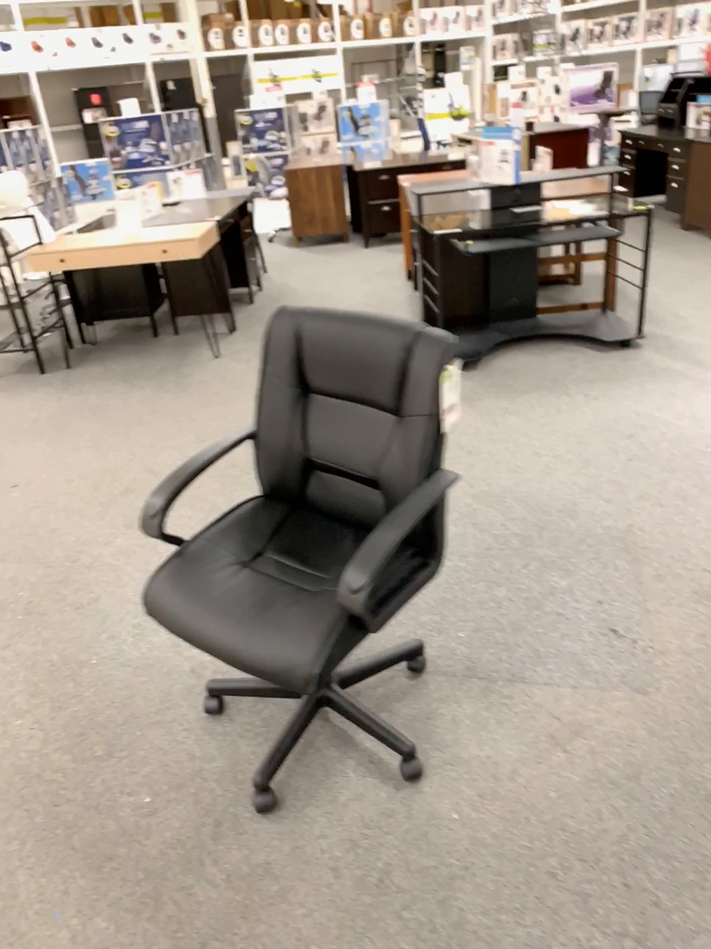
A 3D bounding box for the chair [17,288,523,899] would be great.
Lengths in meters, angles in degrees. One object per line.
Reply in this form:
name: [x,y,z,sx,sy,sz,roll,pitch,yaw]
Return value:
chair: [-0.122,0.191,1.640,0.682,0.964,0.702,18,36,33]
